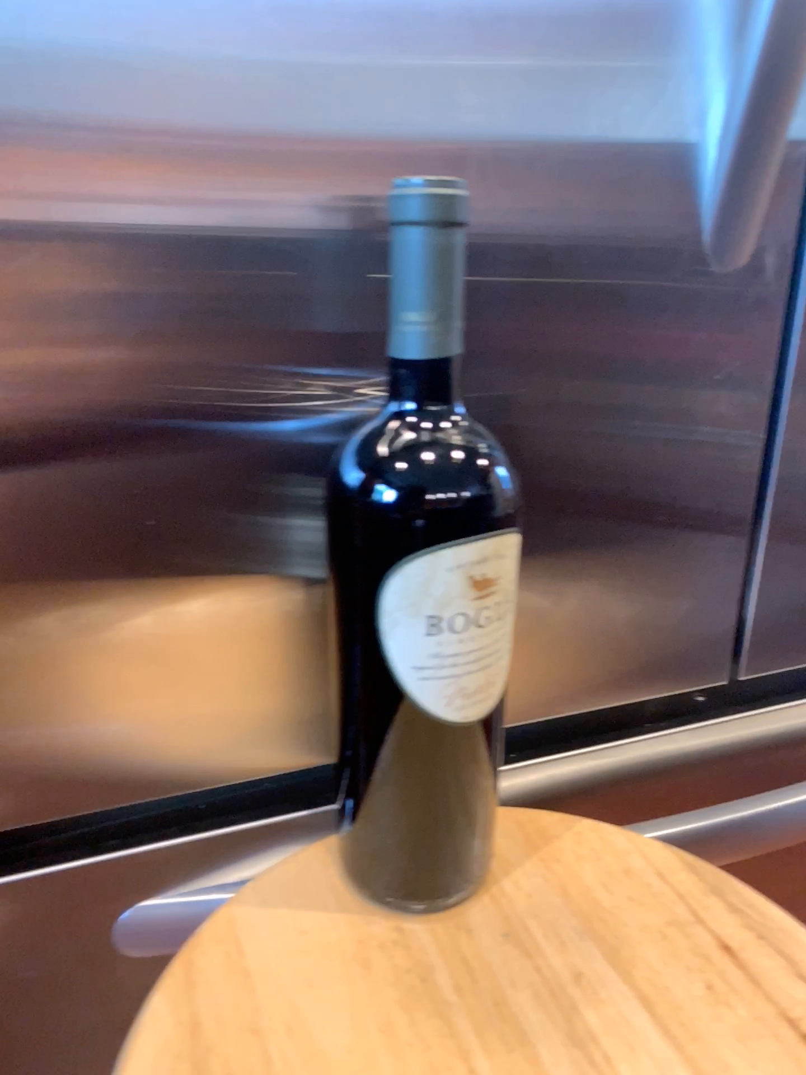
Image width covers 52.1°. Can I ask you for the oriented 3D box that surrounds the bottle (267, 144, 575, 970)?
[{"bbox_3d":[0.003,0.014,0.353,0.080,0.319,0.080,1,18,0],"label":"bottle"}]
